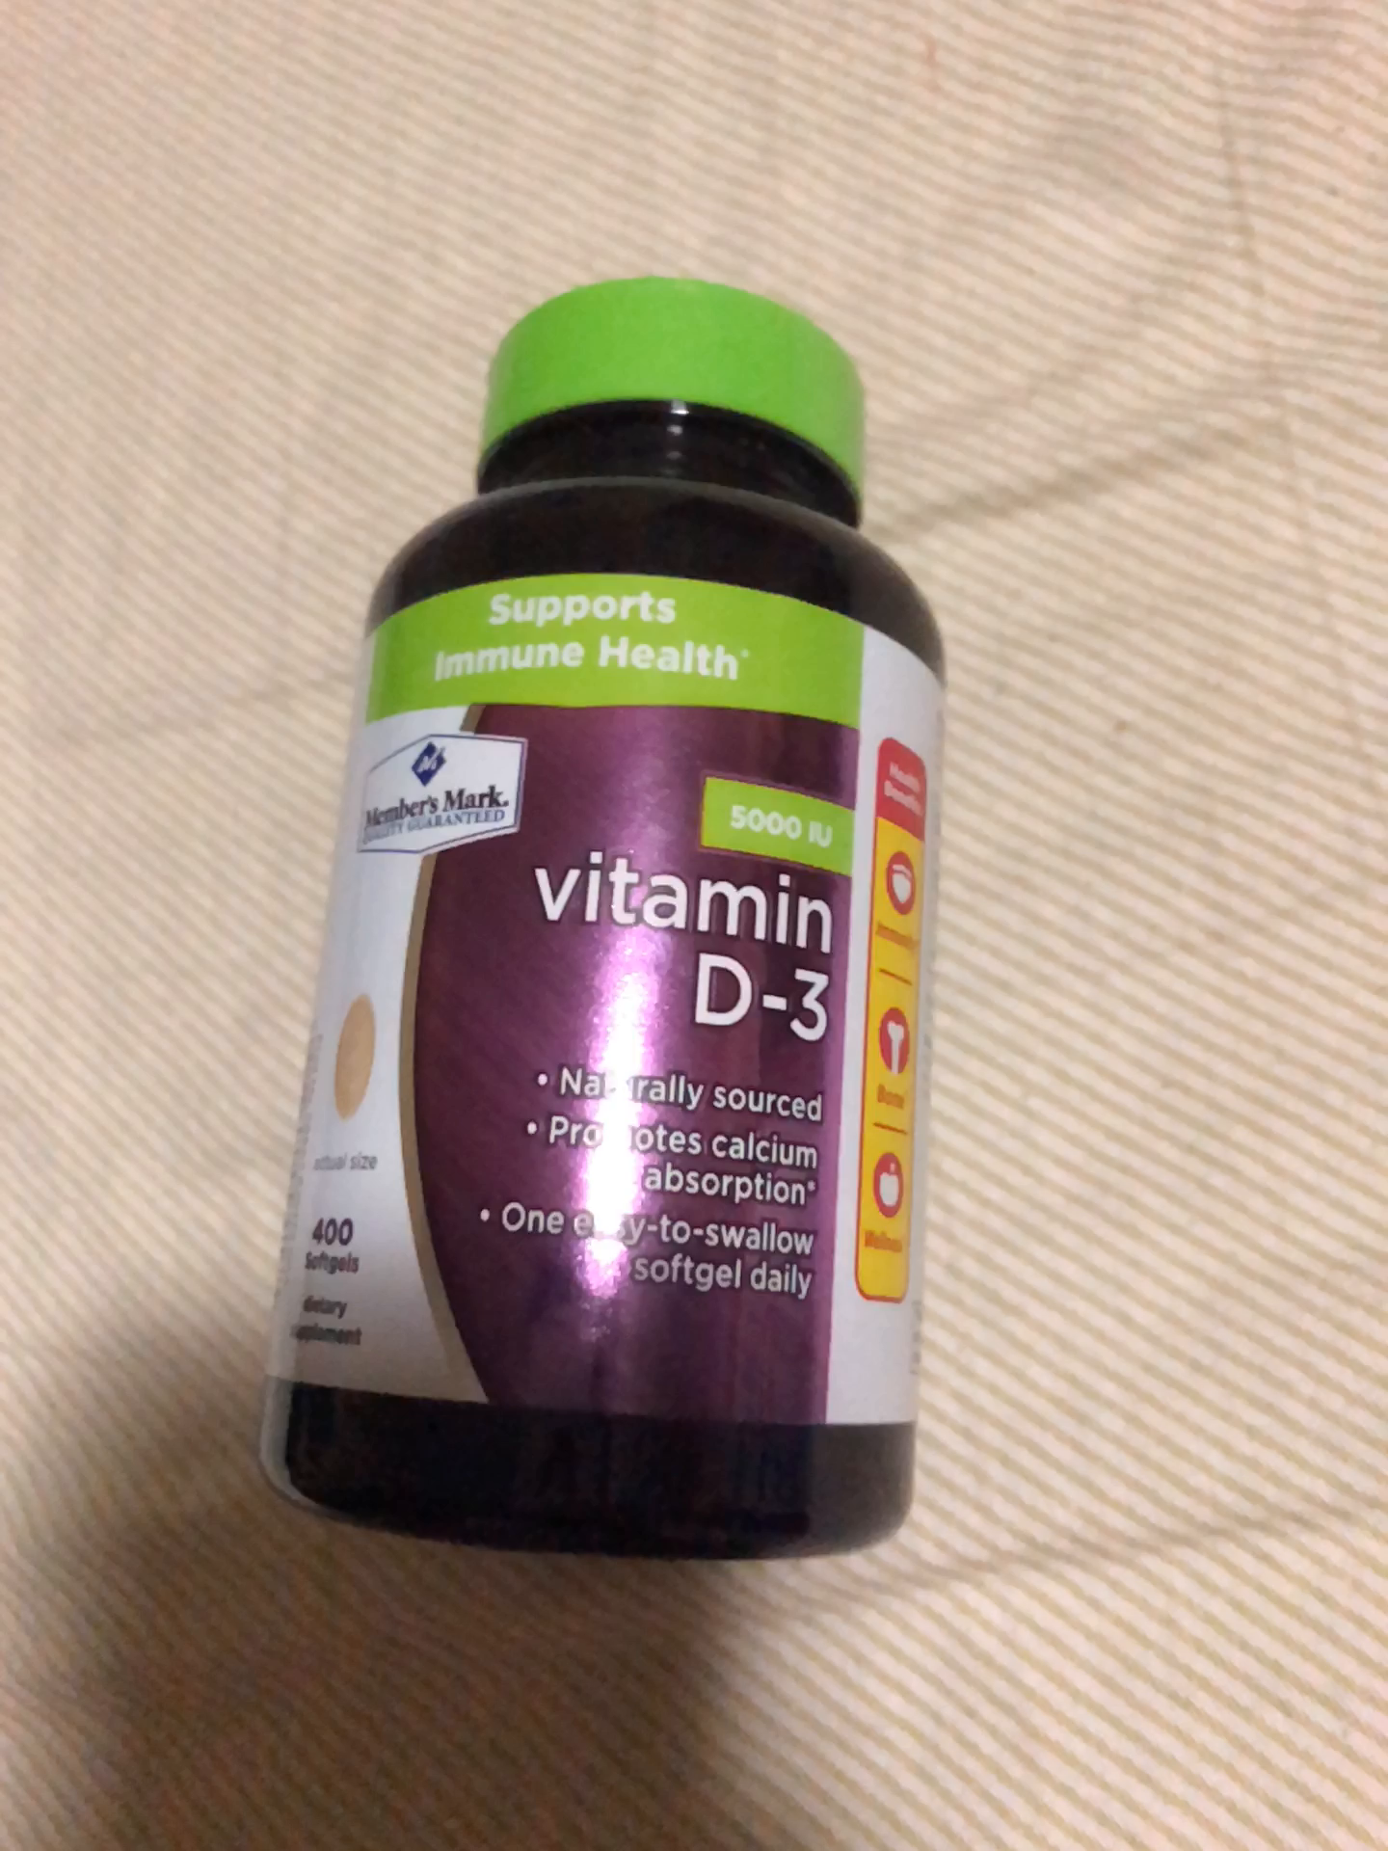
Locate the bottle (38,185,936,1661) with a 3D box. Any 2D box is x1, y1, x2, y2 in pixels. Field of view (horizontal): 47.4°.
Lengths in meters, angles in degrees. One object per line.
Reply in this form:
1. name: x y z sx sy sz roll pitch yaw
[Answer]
1. bottle: -0.010 0.001 0.149 0.060 0.060 0.110 1 77 11
